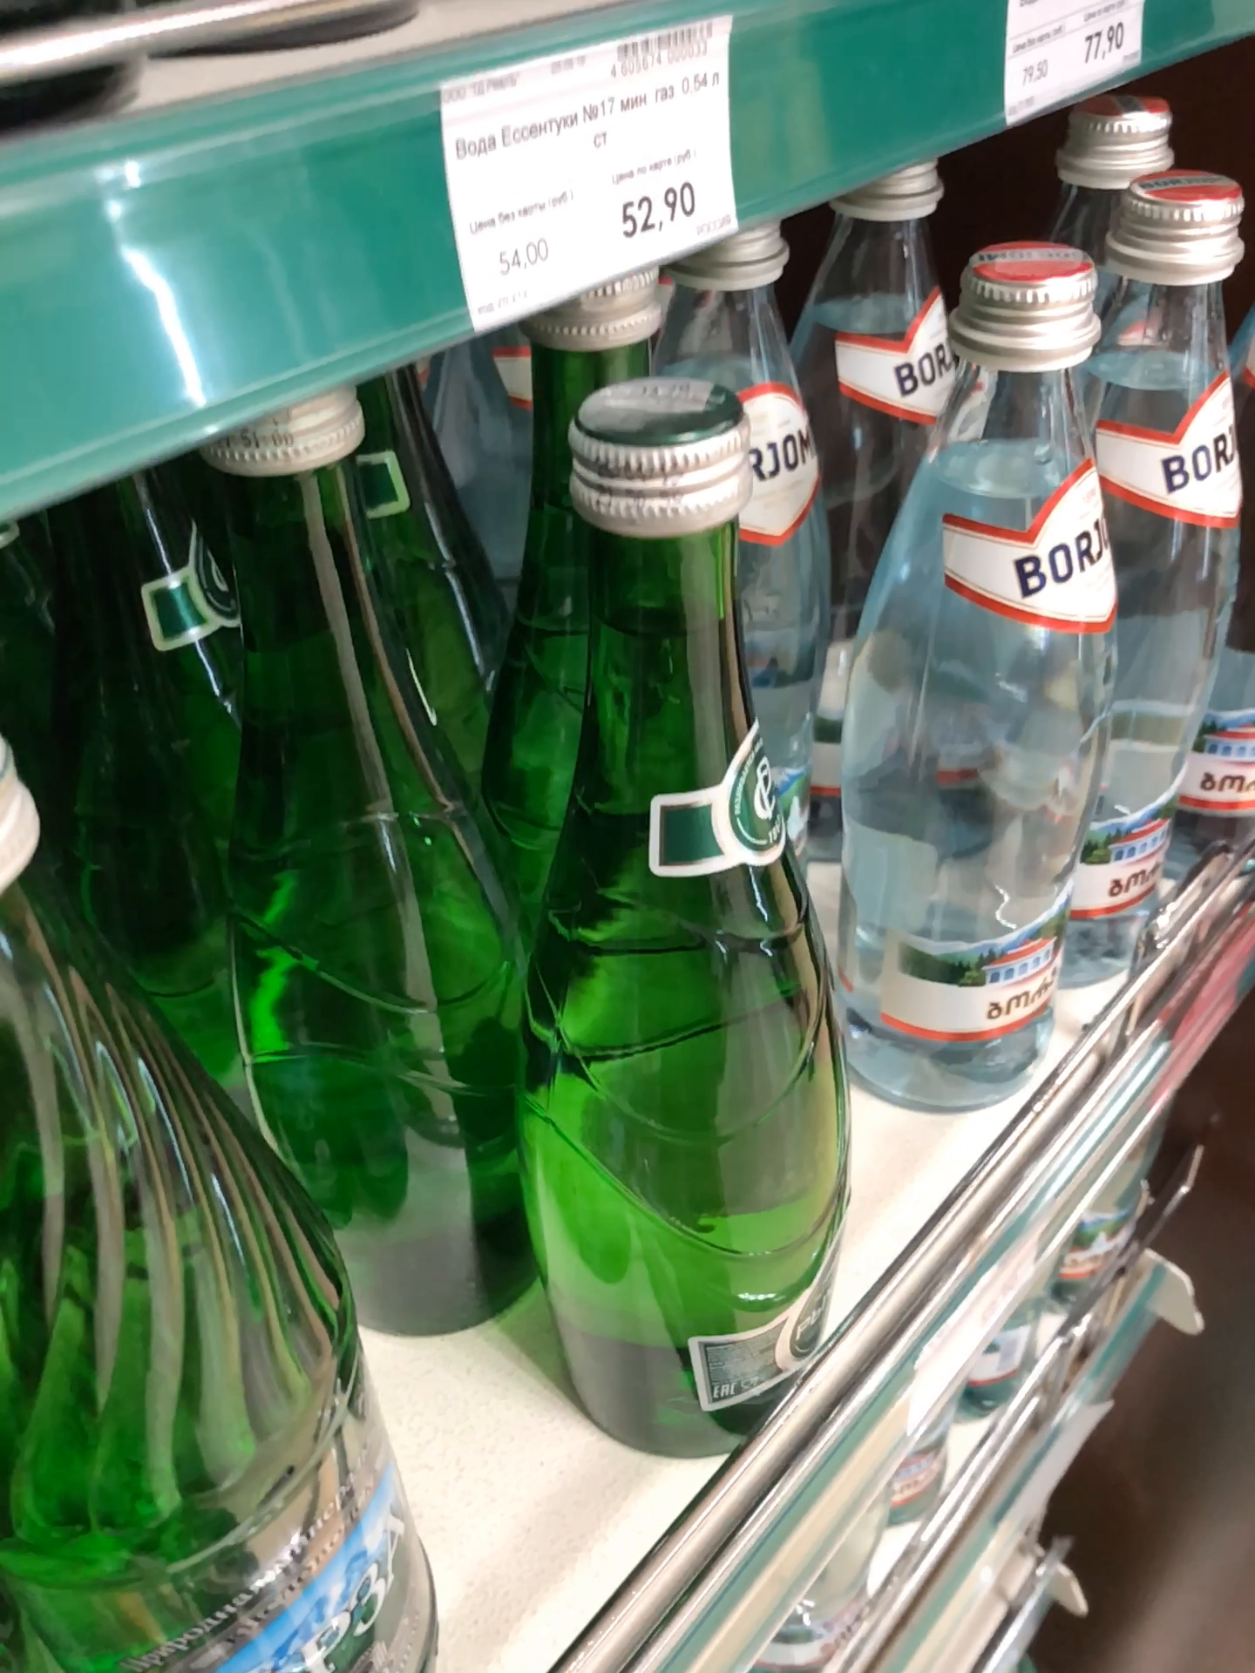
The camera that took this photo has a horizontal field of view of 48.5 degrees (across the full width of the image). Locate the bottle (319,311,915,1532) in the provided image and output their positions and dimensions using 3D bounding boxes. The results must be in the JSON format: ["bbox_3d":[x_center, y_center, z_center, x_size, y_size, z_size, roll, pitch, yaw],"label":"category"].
[{"bbox_3d":[0.009,0.036,0.294,0.070,0.258,0.080,9,40,16],"label":"bottle"}]
